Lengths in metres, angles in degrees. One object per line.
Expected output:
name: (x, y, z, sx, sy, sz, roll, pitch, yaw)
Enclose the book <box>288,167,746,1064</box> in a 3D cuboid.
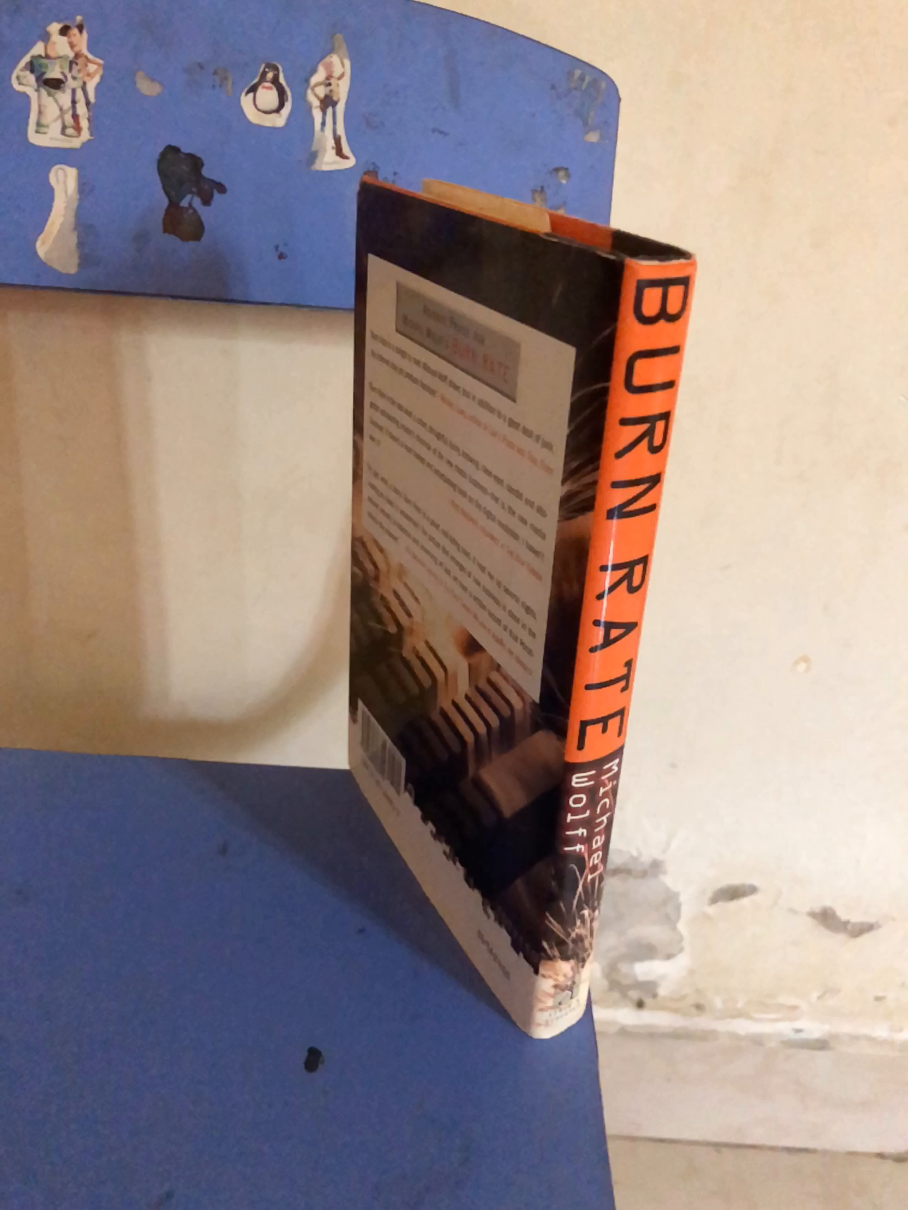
book: (-0.003, -0.012, 0.345, 0.040, 0.239, 0.201, -10, 29, -24)
